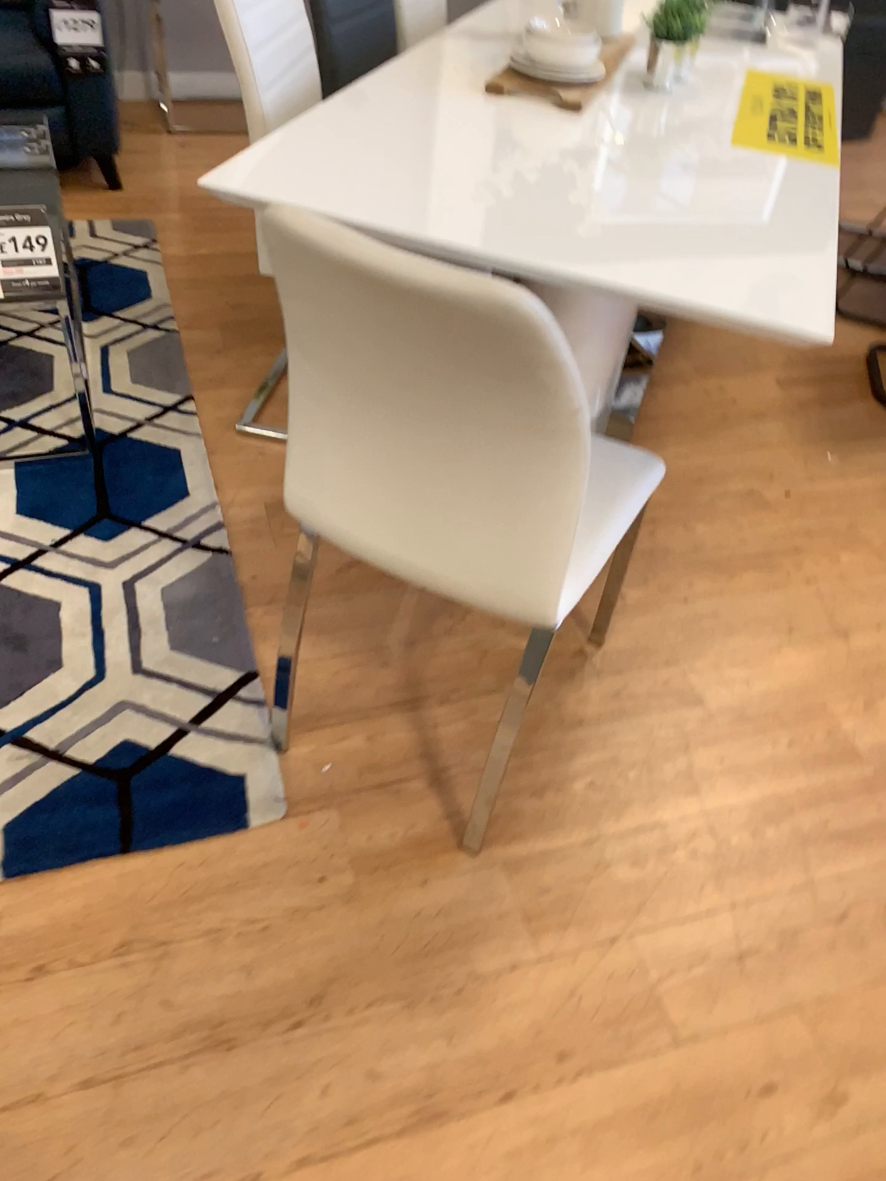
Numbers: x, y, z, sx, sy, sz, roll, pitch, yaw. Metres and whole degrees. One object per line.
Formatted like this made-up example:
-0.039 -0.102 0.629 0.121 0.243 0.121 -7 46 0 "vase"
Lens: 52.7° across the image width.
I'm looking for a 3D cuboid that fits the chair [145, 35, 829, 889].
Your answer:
0.060 -0.174 1.247 0.516 0.863 0.633 23 45 16 "chair"
